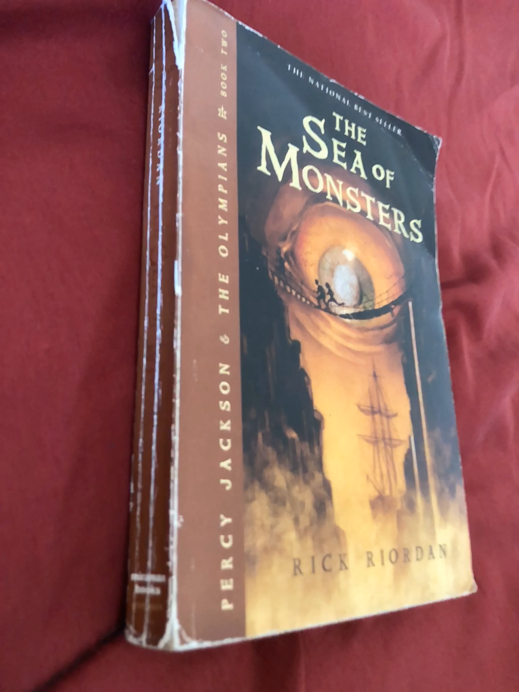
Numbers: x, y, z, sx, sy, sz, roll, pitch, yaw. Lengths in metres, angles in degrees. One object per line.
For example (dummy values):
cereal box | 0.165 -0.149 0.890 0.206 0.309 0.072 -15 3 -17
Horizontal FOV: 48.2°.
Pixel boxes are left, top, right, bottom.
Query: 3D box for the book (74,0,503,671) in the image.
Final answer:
book | 0.021 -0.013 0.200 0.145 0.030 0.197 13 70 -37
